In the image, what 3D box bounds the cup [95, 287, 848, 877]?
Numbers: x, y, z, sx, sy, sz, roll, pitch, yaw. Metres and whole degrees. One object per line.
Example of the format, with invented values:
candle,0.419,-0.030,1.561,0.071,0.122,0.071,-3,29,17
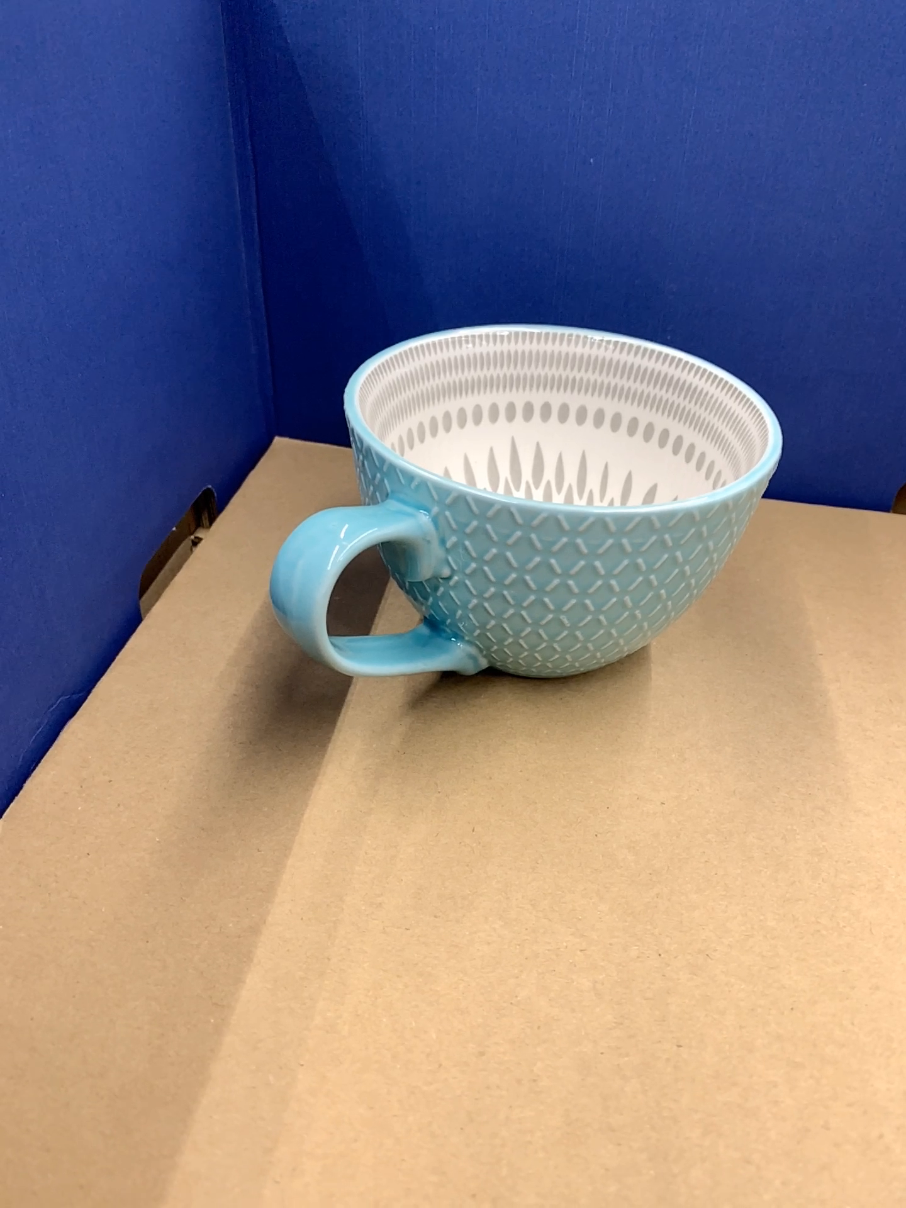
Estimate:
cup,0.008,-0.024,0.249,0.152,0.059,0.112,-28,49,-36
